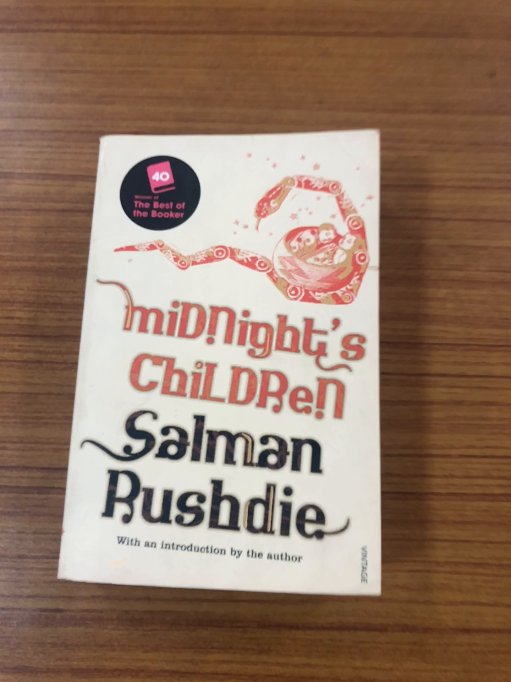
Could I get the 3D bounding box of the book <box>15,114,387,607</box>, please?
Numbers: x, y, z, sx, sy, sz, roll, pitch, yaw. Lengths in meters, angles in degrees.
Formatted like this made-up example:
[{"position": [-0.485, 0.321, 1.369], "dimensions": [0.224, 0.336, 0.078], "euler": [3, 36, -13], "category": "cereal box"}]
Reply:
[{"position": [-0.019, 0.003, 0.255], "dimensions": [0.140, 0.040, 0.200], "euler": [0, 78, 4], "category": "book"}]
